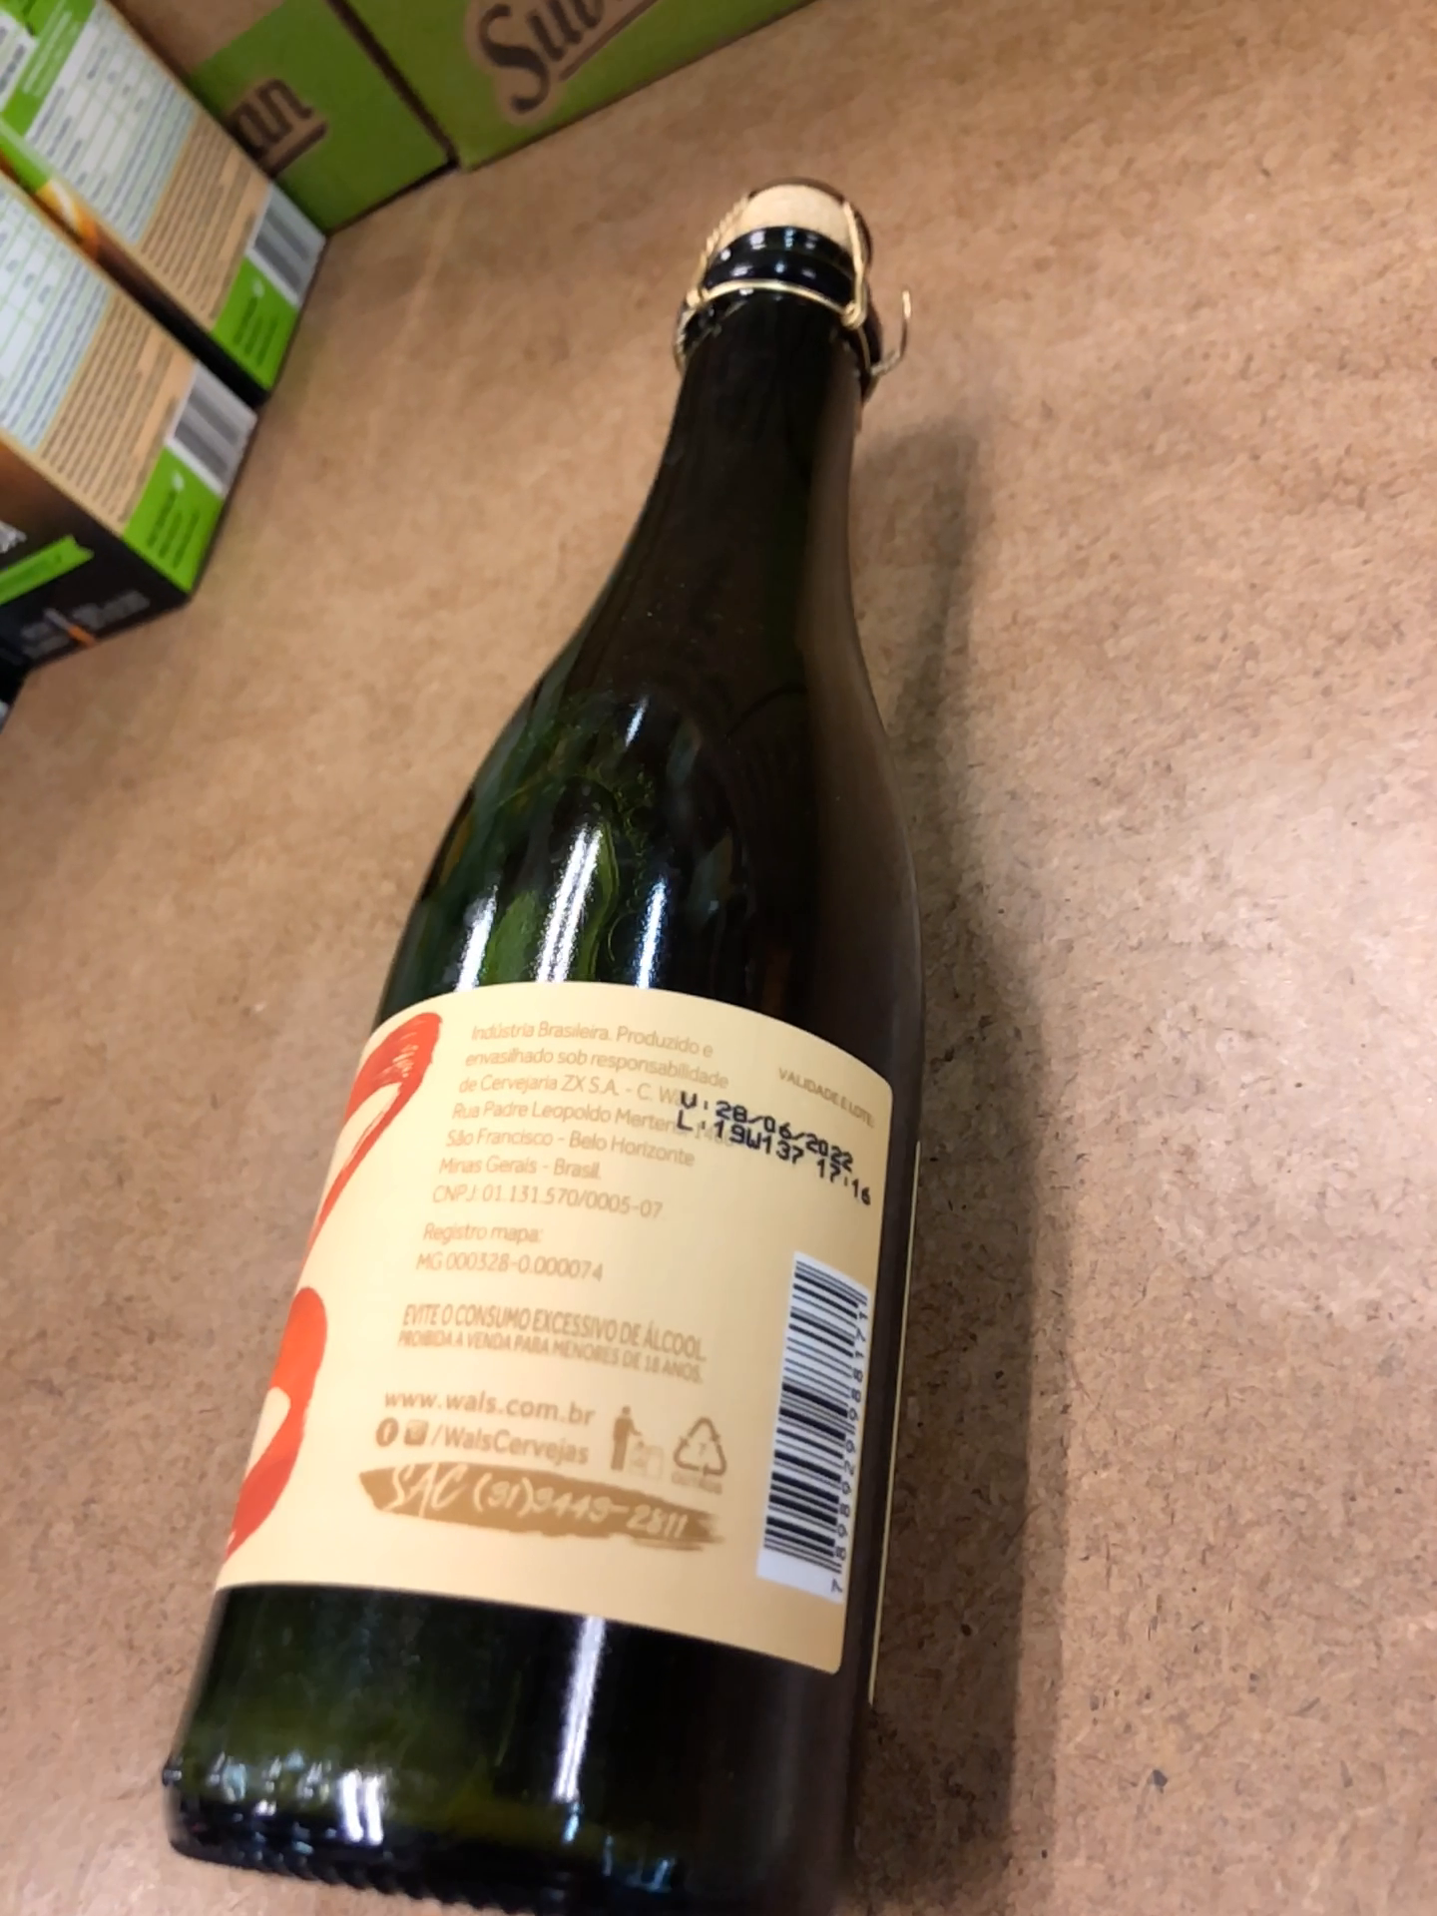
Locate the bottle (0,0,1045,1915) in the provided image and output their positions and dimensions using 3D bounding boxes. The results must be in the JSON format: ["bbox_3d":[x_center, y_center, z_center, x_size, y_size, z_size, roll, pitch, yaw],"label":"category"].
[{"bbox_3d":[-0.006,-0.028,0.209,0.070,0.050,0.271,-10,54,30],"label":"bottle"}]
